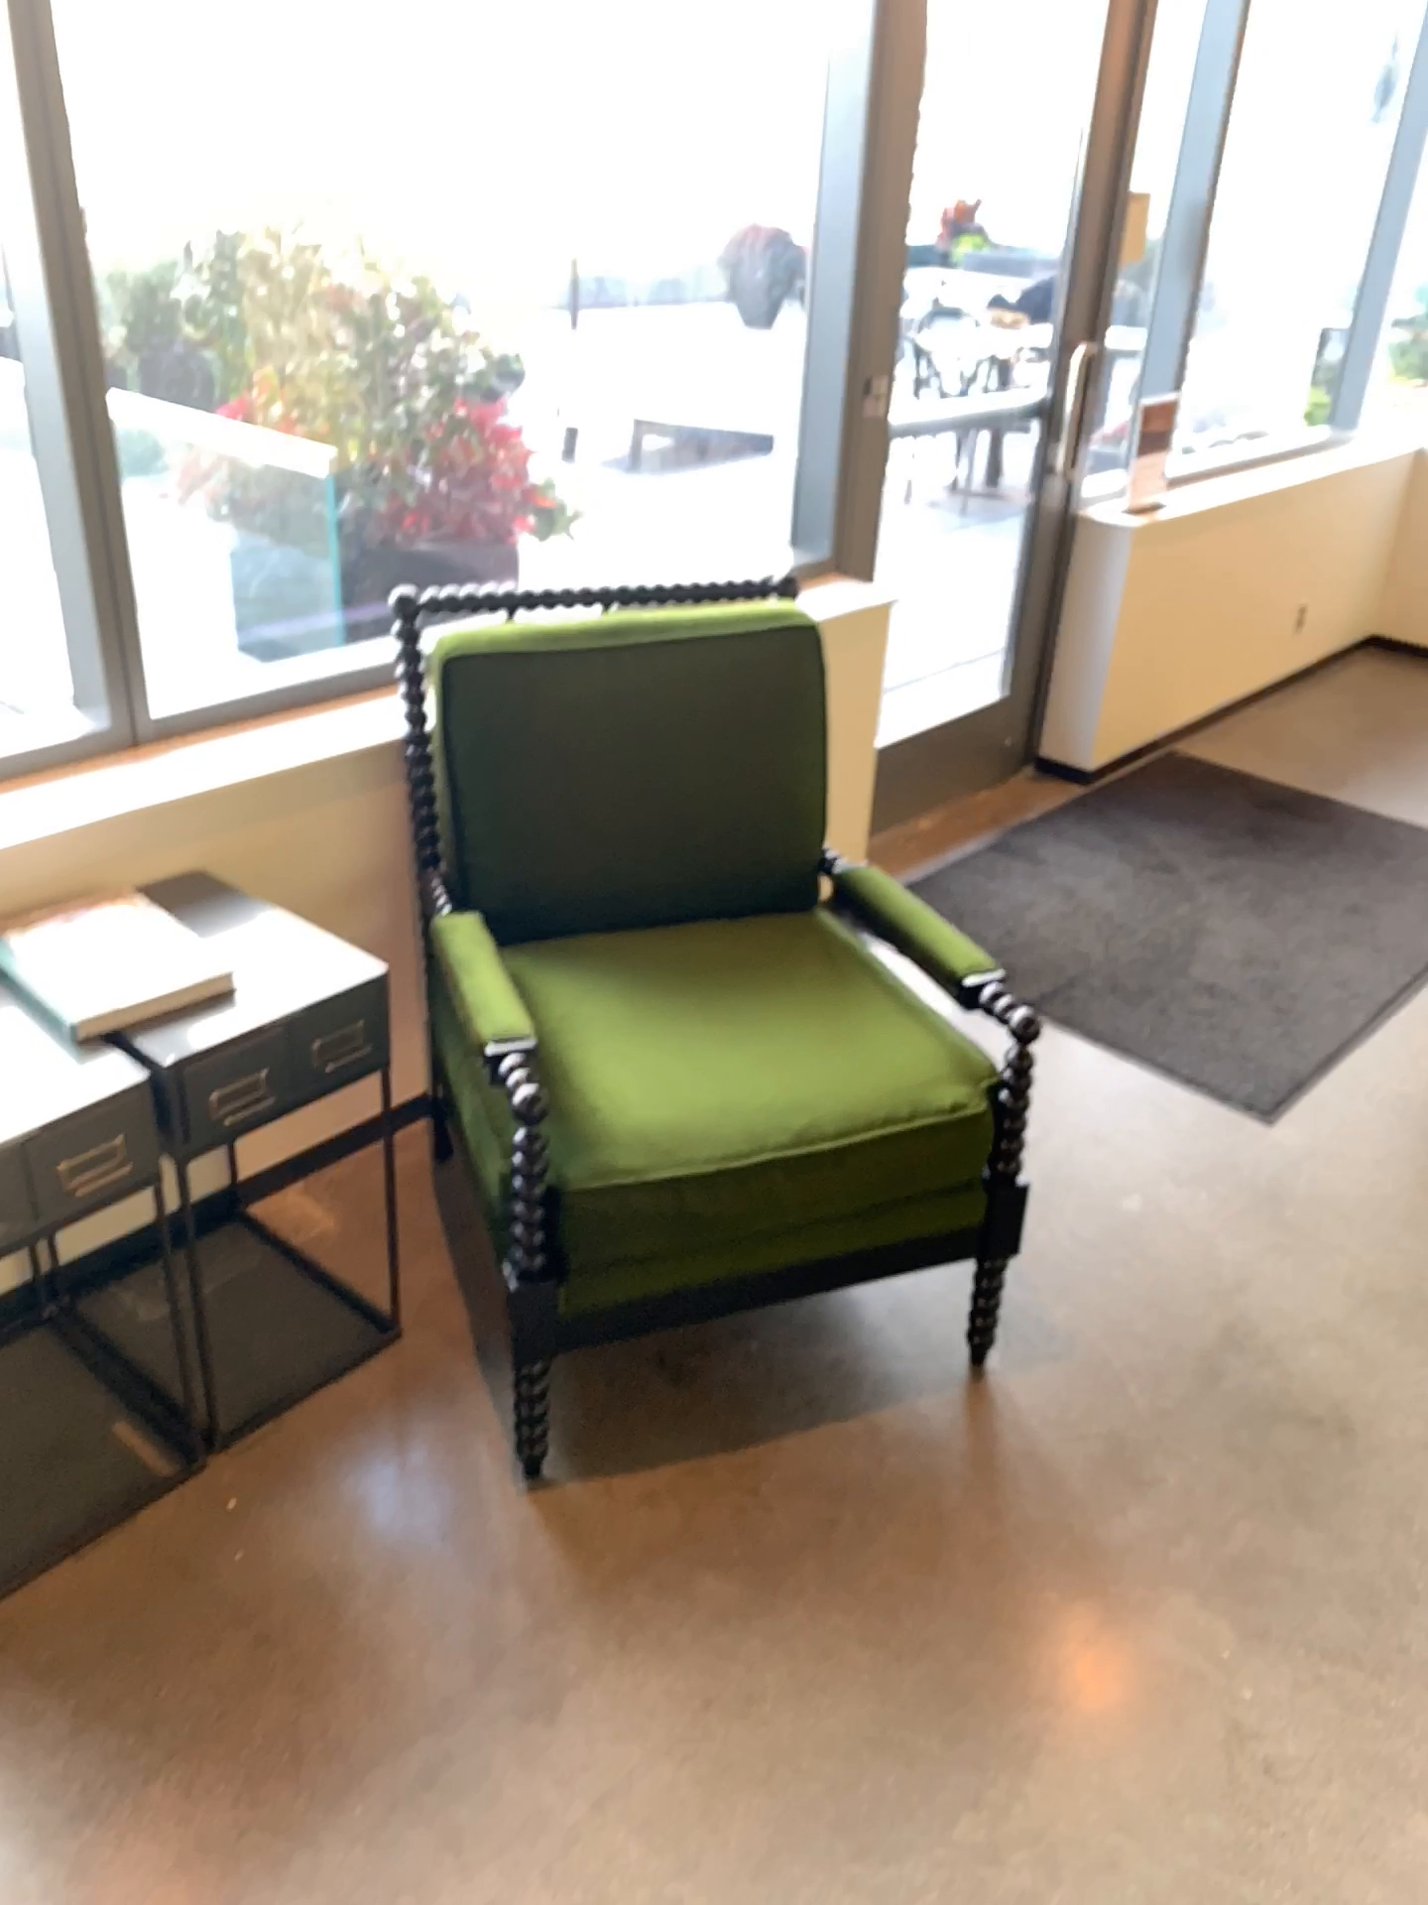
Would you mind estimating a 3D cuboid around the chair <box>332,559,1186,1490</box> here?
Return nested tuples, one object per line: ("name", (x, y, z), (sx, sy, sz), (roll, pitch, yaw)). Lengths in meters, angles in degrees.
("chair", (-0.033, 0.010, 2.201), (0.870, 0.924, 0.946), (-7, 30, -19))
